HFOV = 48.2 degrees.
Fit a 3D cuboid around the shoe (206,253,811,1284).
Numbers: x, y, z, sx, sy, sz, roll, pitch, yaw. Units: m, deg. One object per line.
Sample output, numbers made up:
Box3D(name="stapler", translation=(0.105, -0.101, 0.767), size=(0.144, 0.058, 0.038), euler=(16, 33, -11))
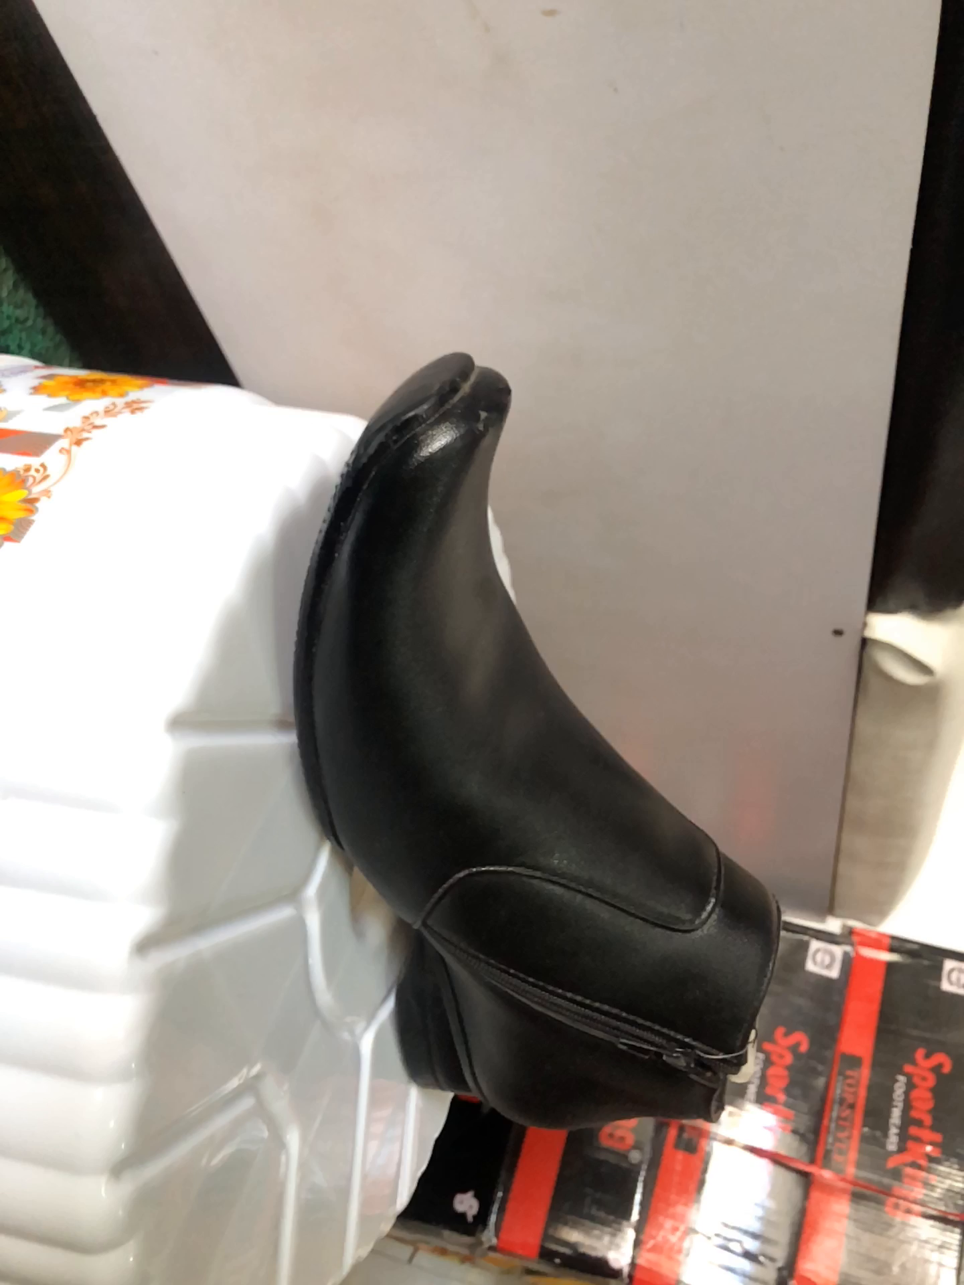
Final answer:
Box3D(name="shoe", translation=(0.031, 0.052, 0.345), size=(0.120, 0.119, 0.311), euler=(-59, 148, -53))
